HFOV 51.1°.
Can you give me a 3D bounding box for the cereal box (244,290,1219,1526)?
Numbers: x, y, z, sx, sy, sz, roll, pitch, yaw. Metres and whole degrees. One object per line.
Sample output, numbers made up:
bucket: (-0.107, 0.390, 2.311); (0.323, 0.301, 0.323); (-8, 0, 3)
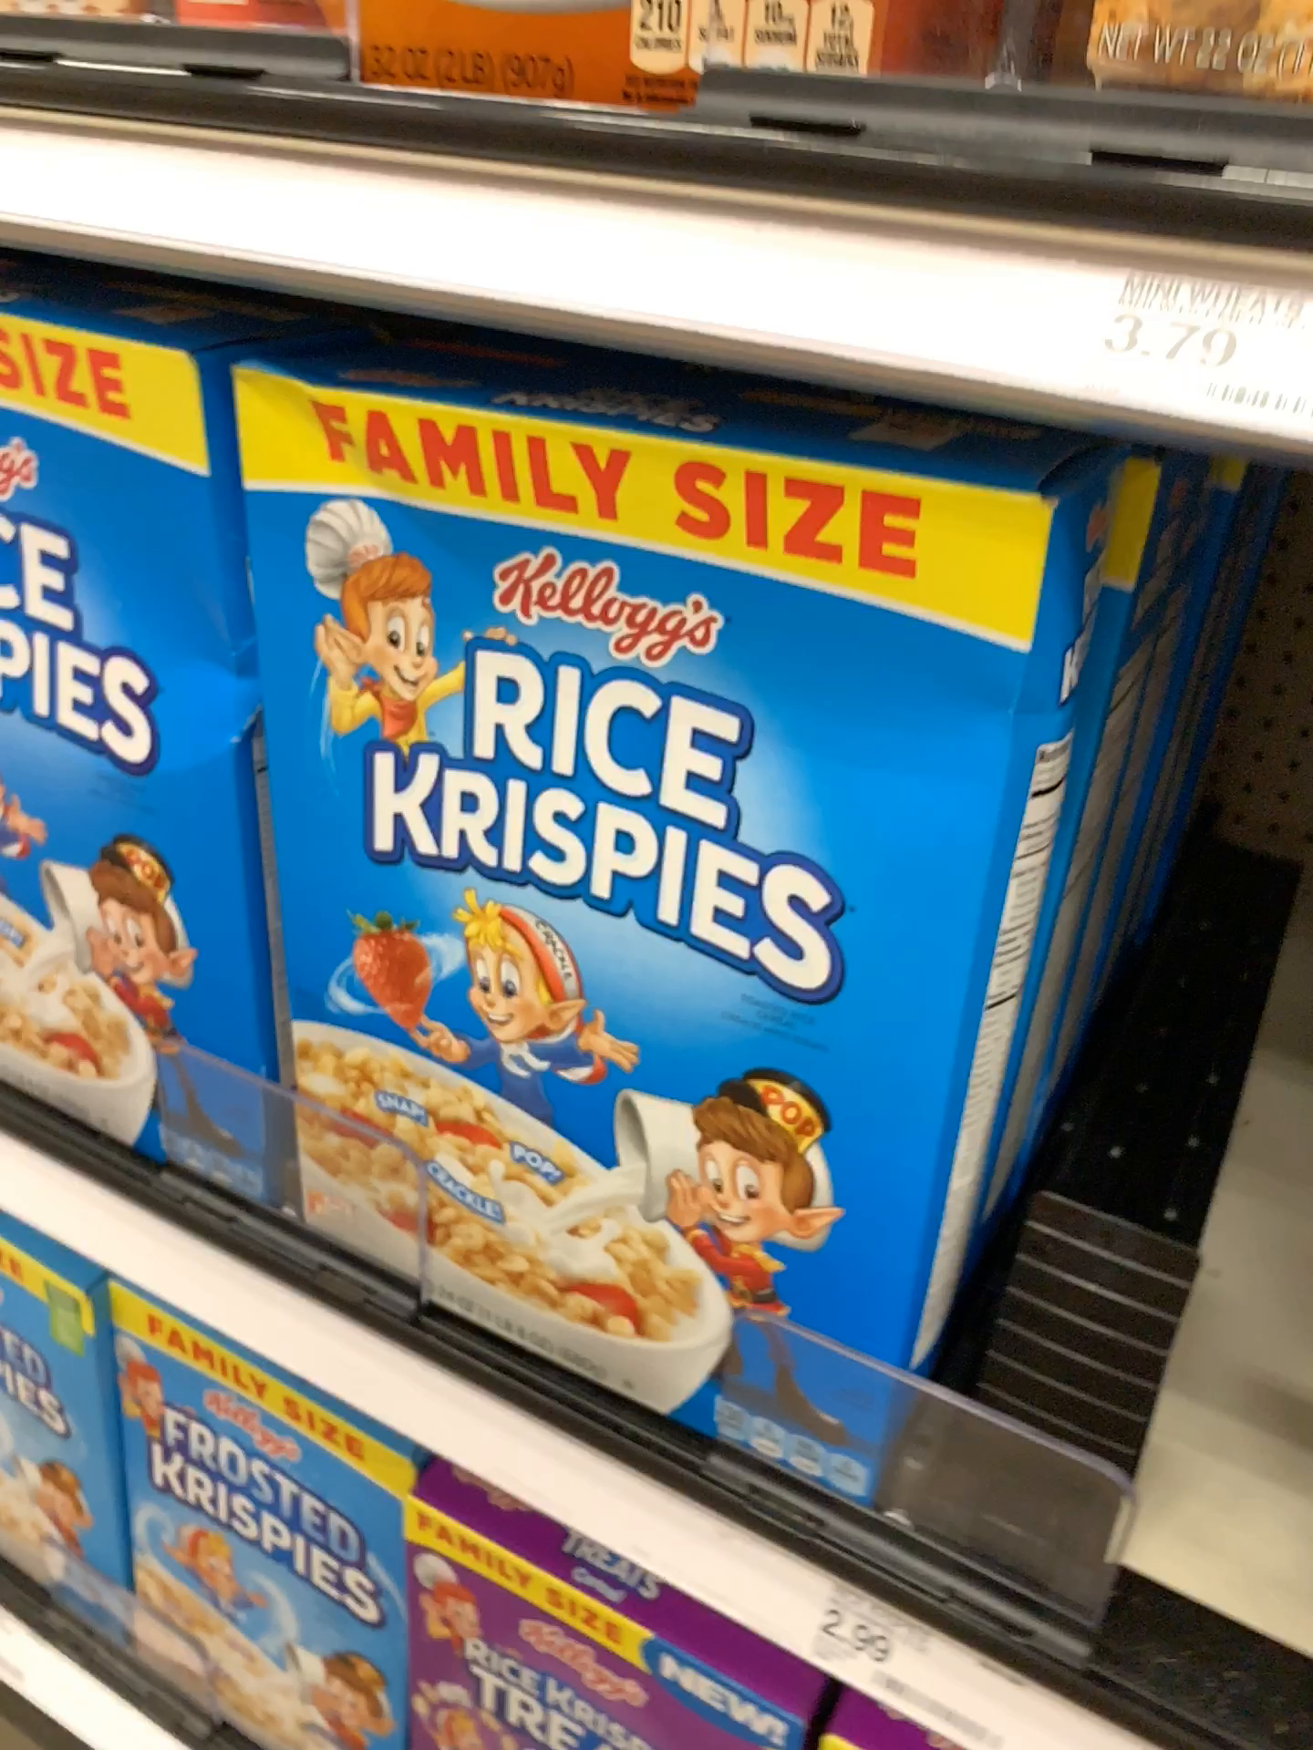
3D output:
cereal box: (0.005, 0.010, 0.461); (0.250, 0.348, 0.100); (17, 31, 21)
